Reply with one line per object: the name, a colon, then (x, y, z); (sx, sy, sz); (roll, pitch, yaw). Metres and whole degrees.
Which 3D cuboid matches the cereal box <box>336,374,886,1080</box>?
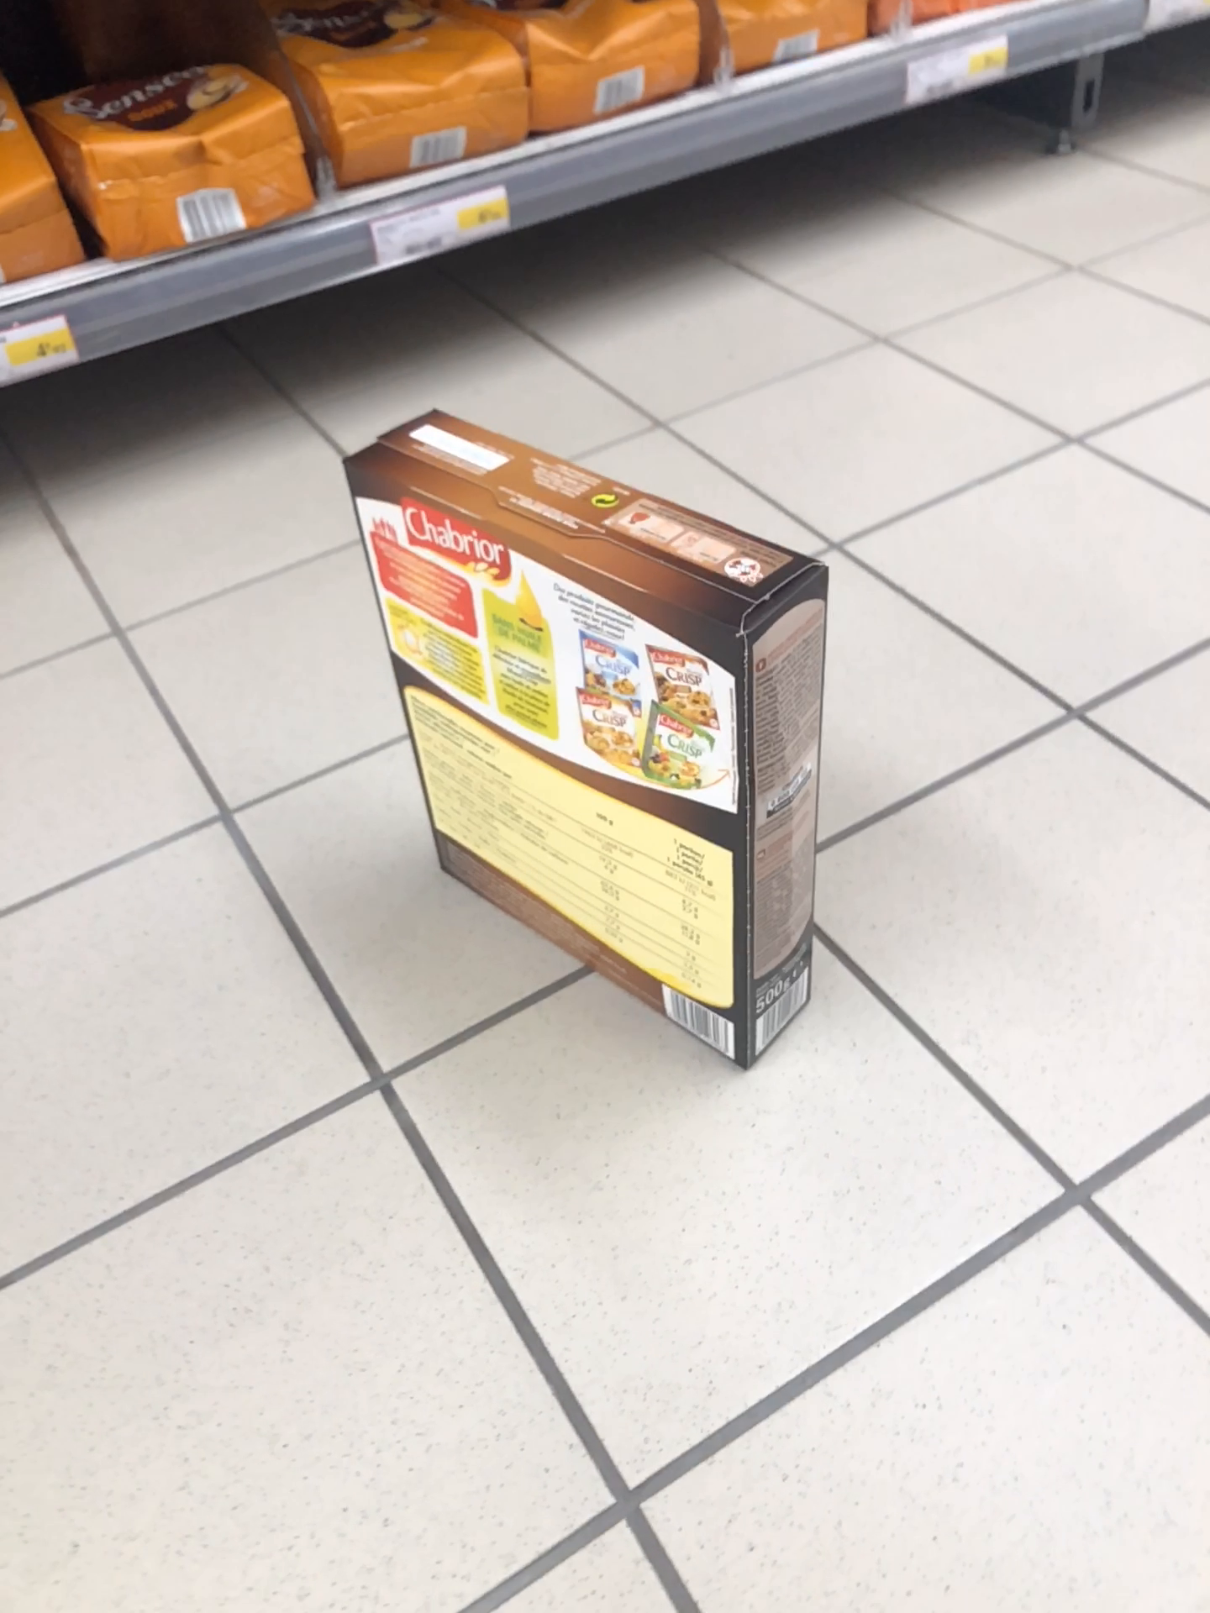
cereal box: (0.004, -0.030, 0.535); (0.200, 0.229, 0.060); (29, 54, 32)
